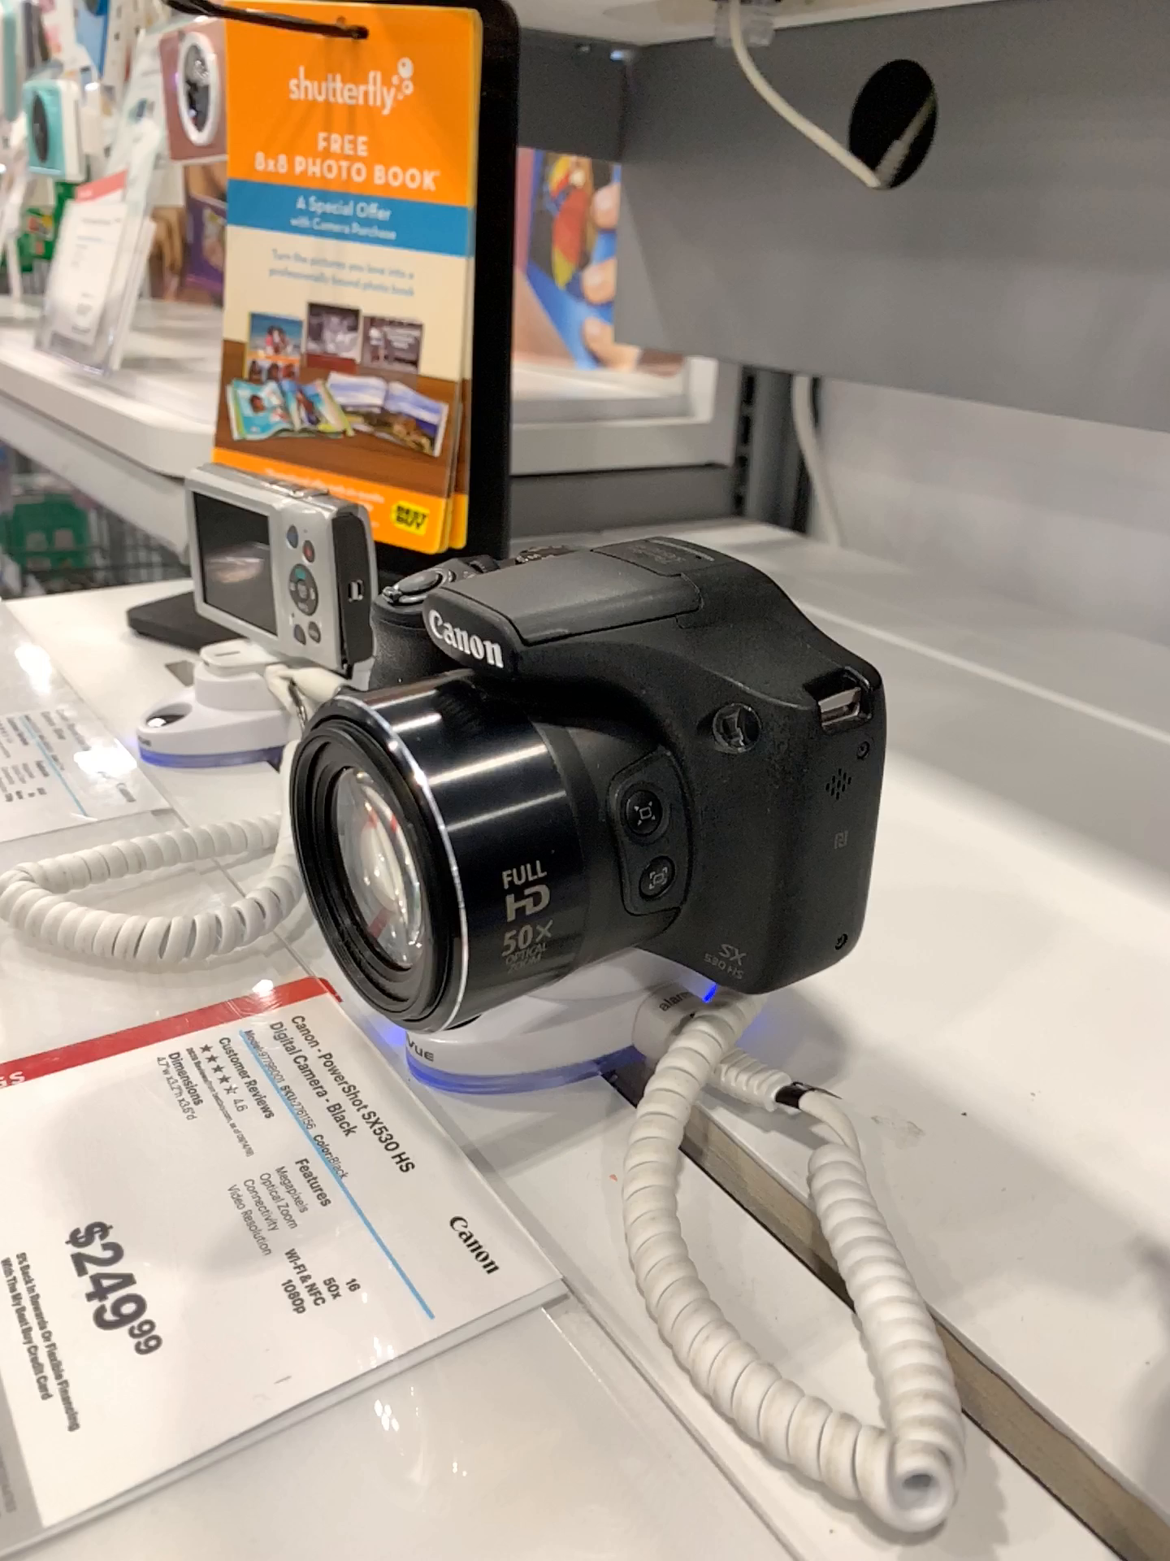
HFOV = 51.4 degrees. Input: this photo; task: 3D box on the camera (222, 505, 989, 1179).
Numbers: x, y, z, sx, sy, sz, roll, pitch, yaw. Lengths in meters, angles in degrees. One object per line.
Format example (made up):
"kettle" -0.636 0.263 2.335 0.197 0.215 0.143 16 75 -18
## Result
"camera" -0.004 -0.003 0.253 0.100 0.080 0.120 -13 28 -31
